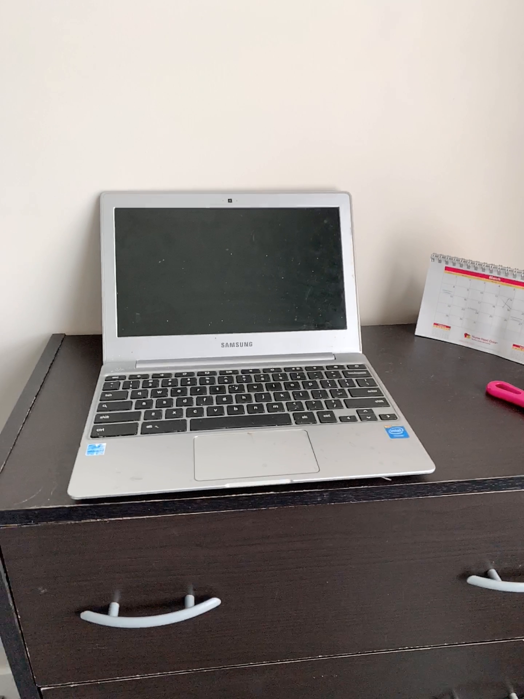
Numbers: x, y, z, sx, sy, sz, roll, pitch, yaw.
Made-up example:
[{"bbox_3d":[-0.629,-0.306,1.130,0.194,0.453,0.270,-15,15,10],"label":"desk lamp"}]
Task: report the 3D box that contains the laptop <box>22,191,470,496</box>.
[{"bbox_3d":[-0.023,-0.042,0.521,0.291,0.153,0.319,-2,28,-8],"label":"laptop"}]
